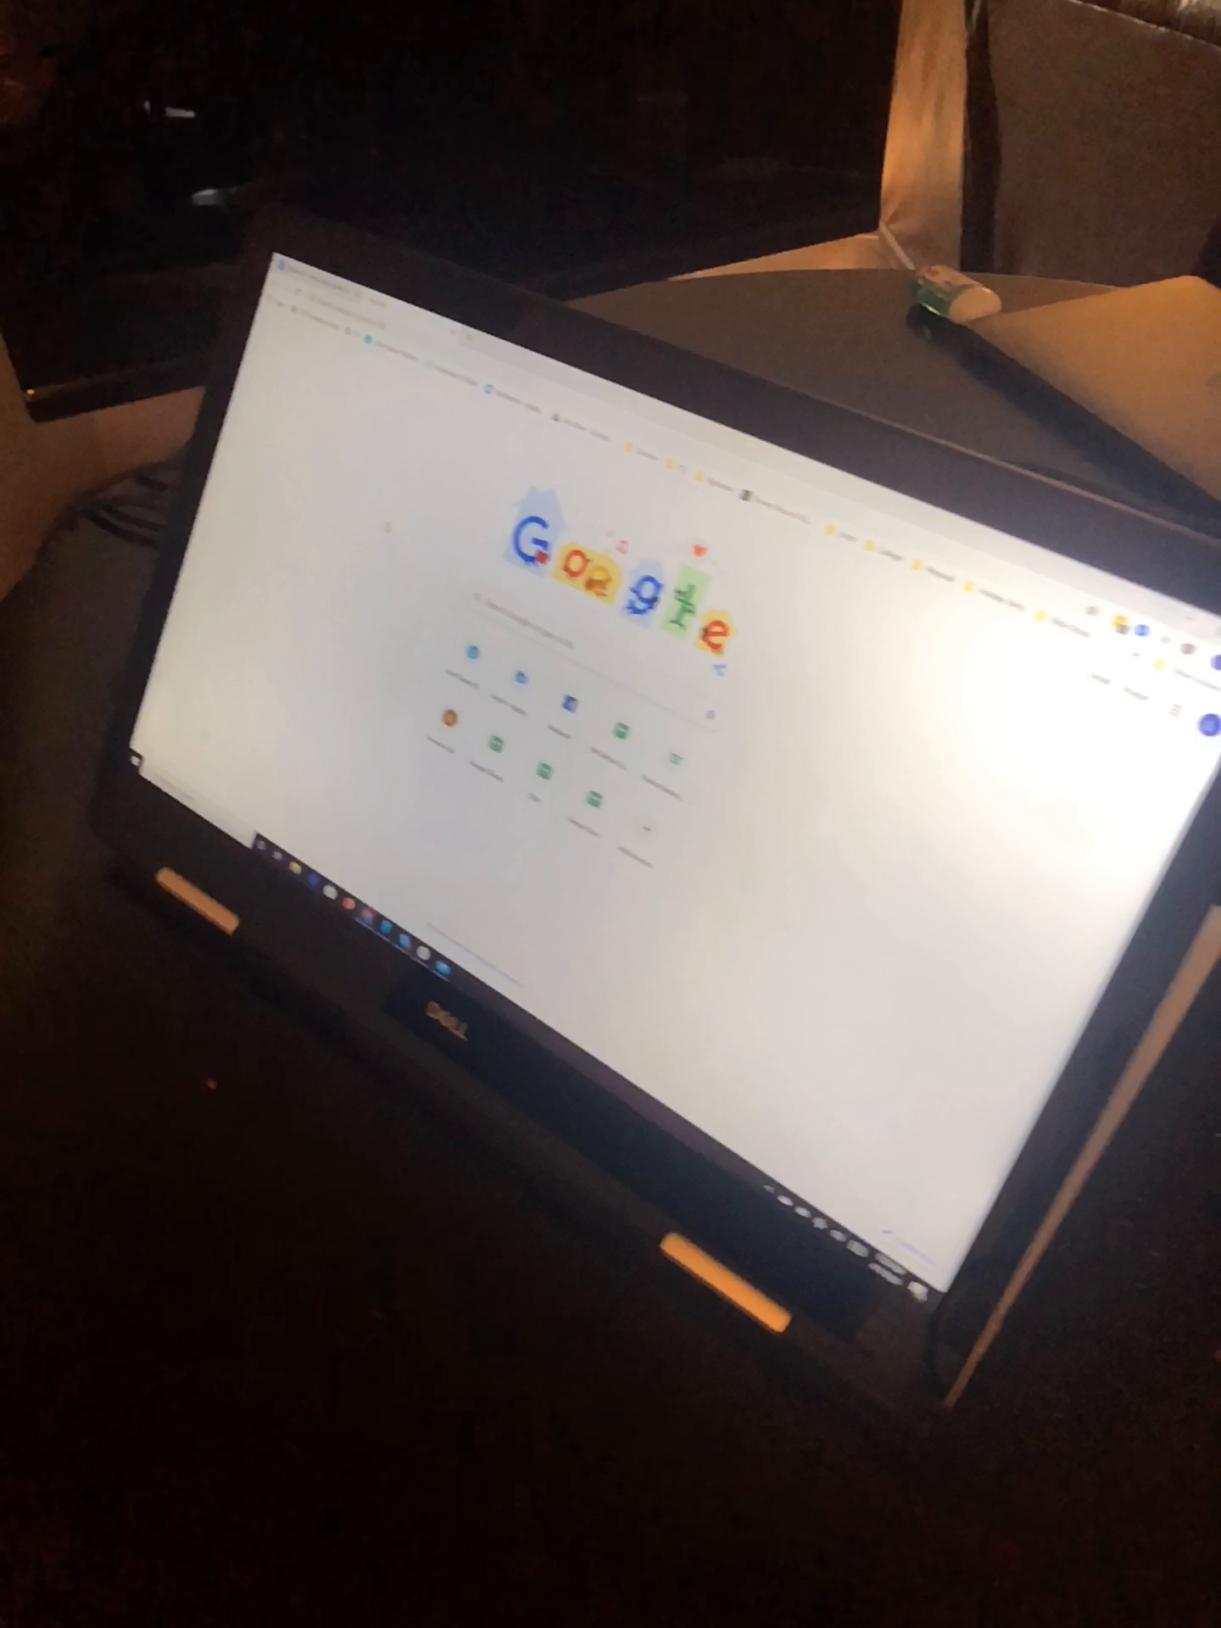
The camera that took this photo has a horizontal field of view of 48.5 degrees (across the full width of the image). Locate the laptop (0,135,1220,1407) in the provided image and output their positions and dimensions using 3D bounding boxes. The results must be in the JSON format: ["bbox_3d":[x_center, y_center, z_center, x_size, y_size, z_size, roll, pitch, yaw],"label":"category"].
[{"bbox_3d":[0.020,-0.058,0.512,0.419,0.232,0.268,29,50,27],"label":"laptop"}]
